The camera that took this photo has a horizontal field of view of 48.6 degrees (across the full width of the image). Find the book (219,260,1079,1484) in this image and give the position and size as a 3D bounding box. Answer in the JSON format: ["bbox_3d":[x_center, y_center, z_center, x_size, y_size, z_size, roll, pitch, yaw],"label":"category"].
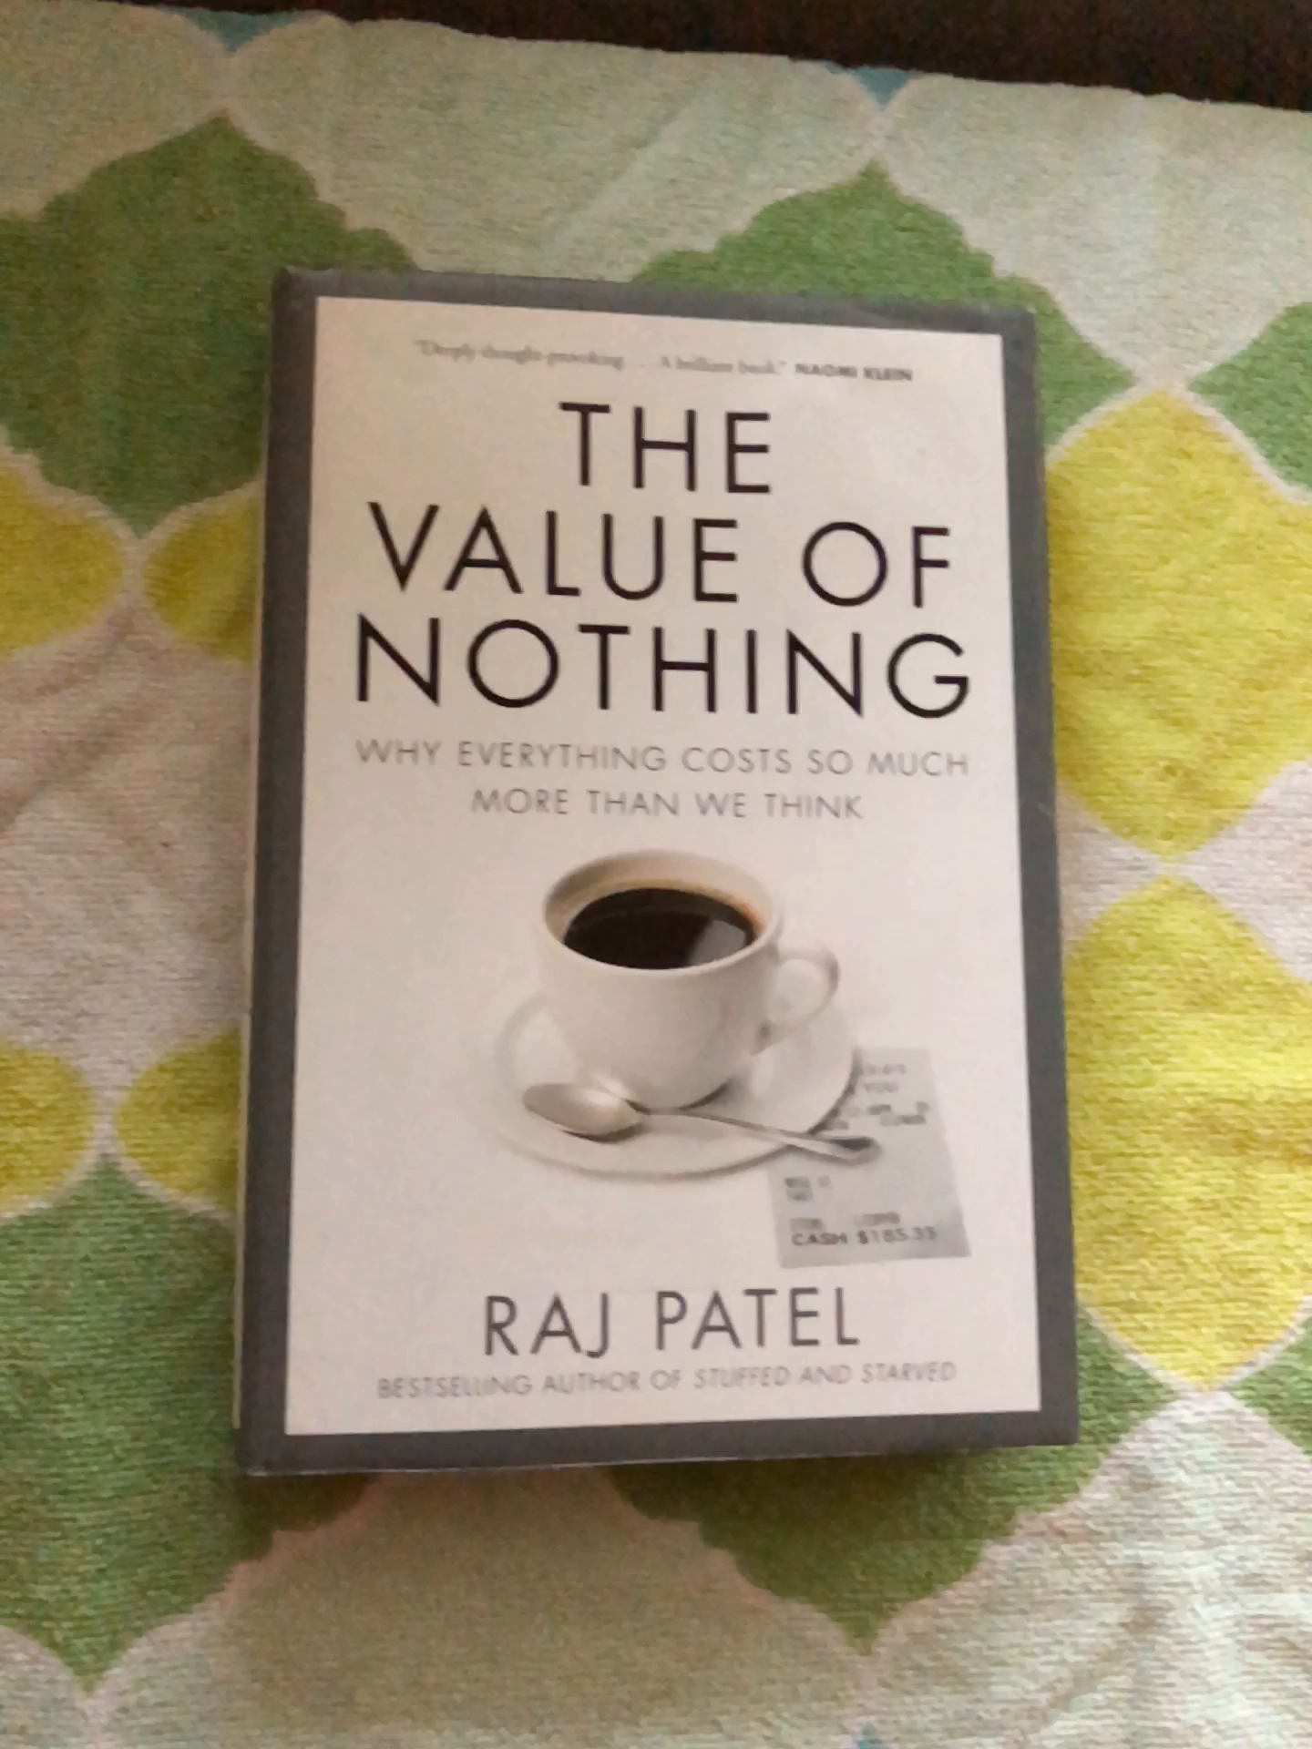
[{"bbox_3d":[-0.001,-0.003,0.264,0.140,0.030,0.206,1,82,-6],"label":"book"}]
